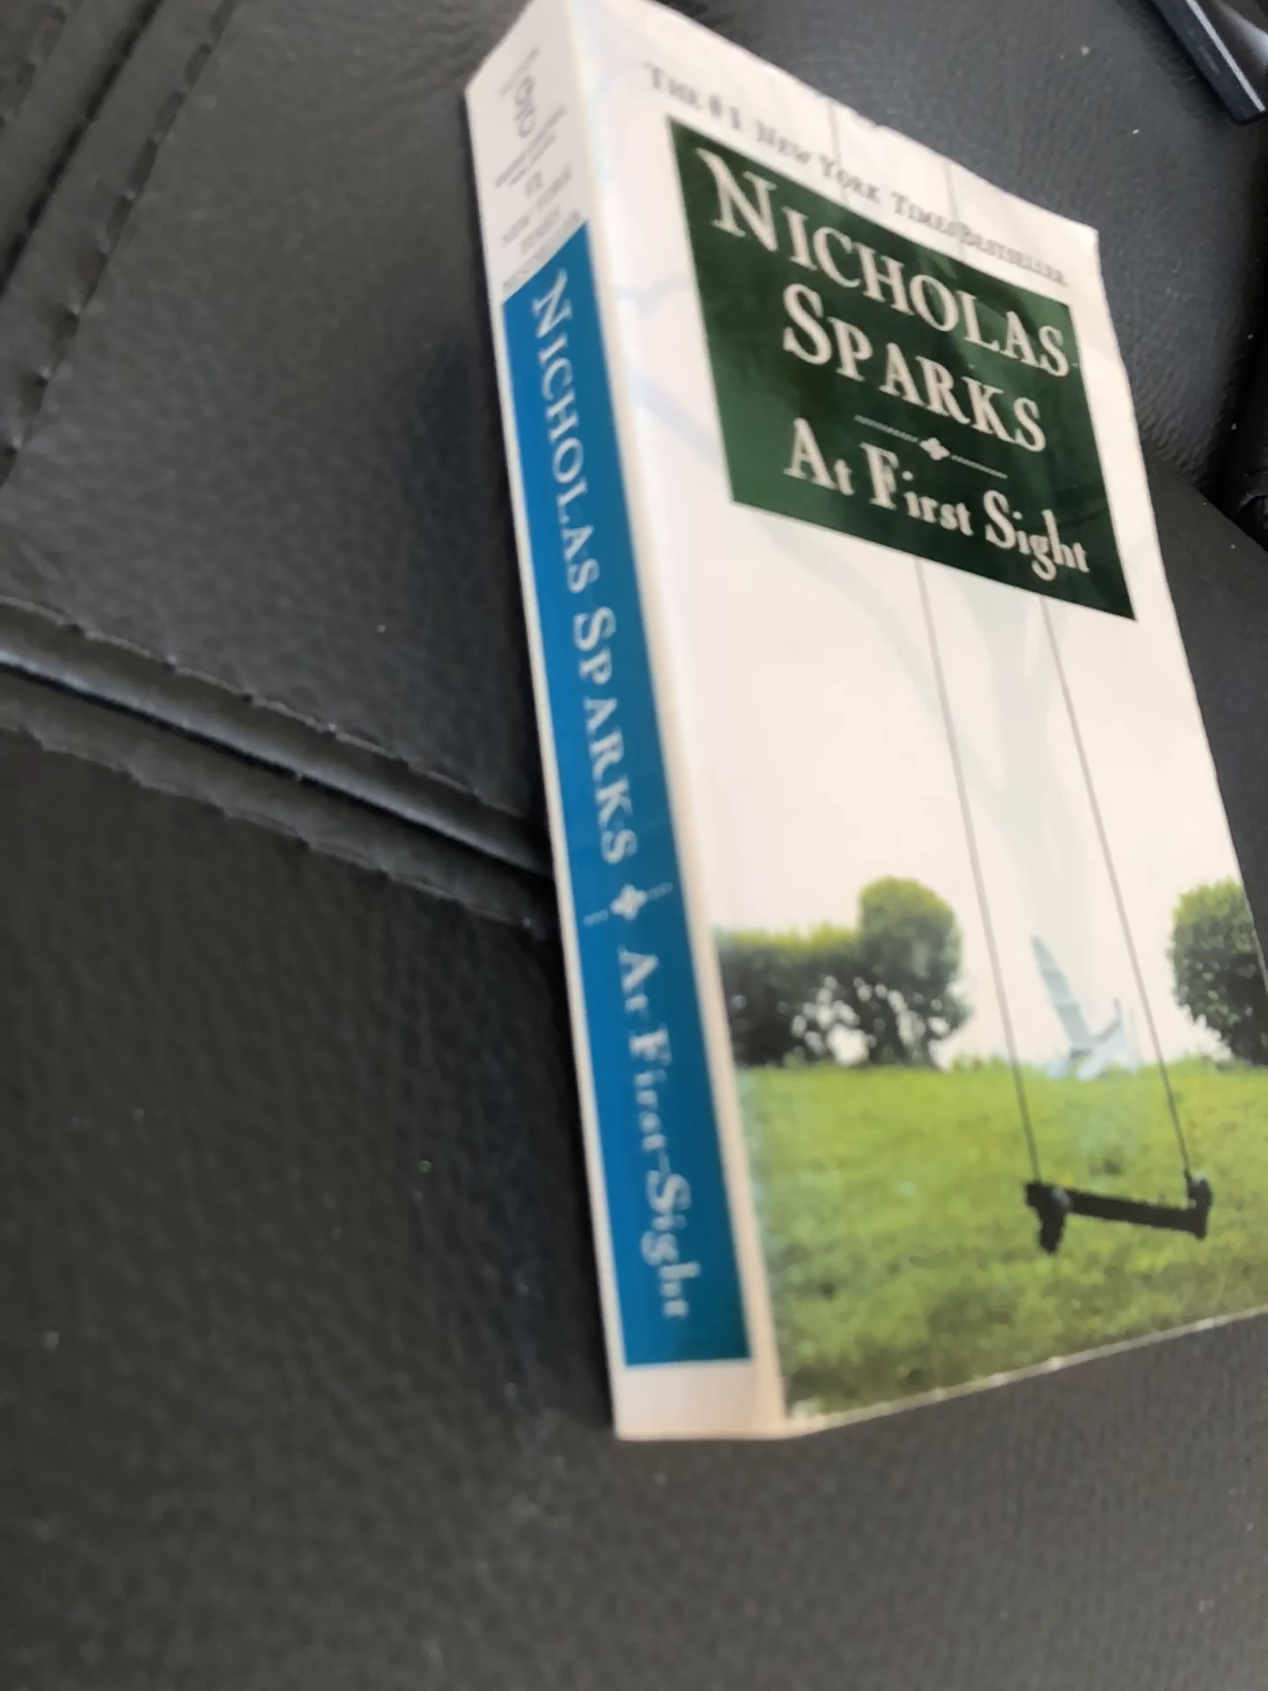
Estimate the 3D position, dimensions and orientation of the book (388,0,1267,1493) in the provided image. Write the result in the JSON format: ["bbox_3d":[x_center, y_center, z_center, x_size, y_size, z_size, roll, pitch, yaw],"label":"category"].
[{"bbox_3d":[0.034,-0.028,0.192,0.121,0.030,0.190,6,70,-39],"label":"book"}]
